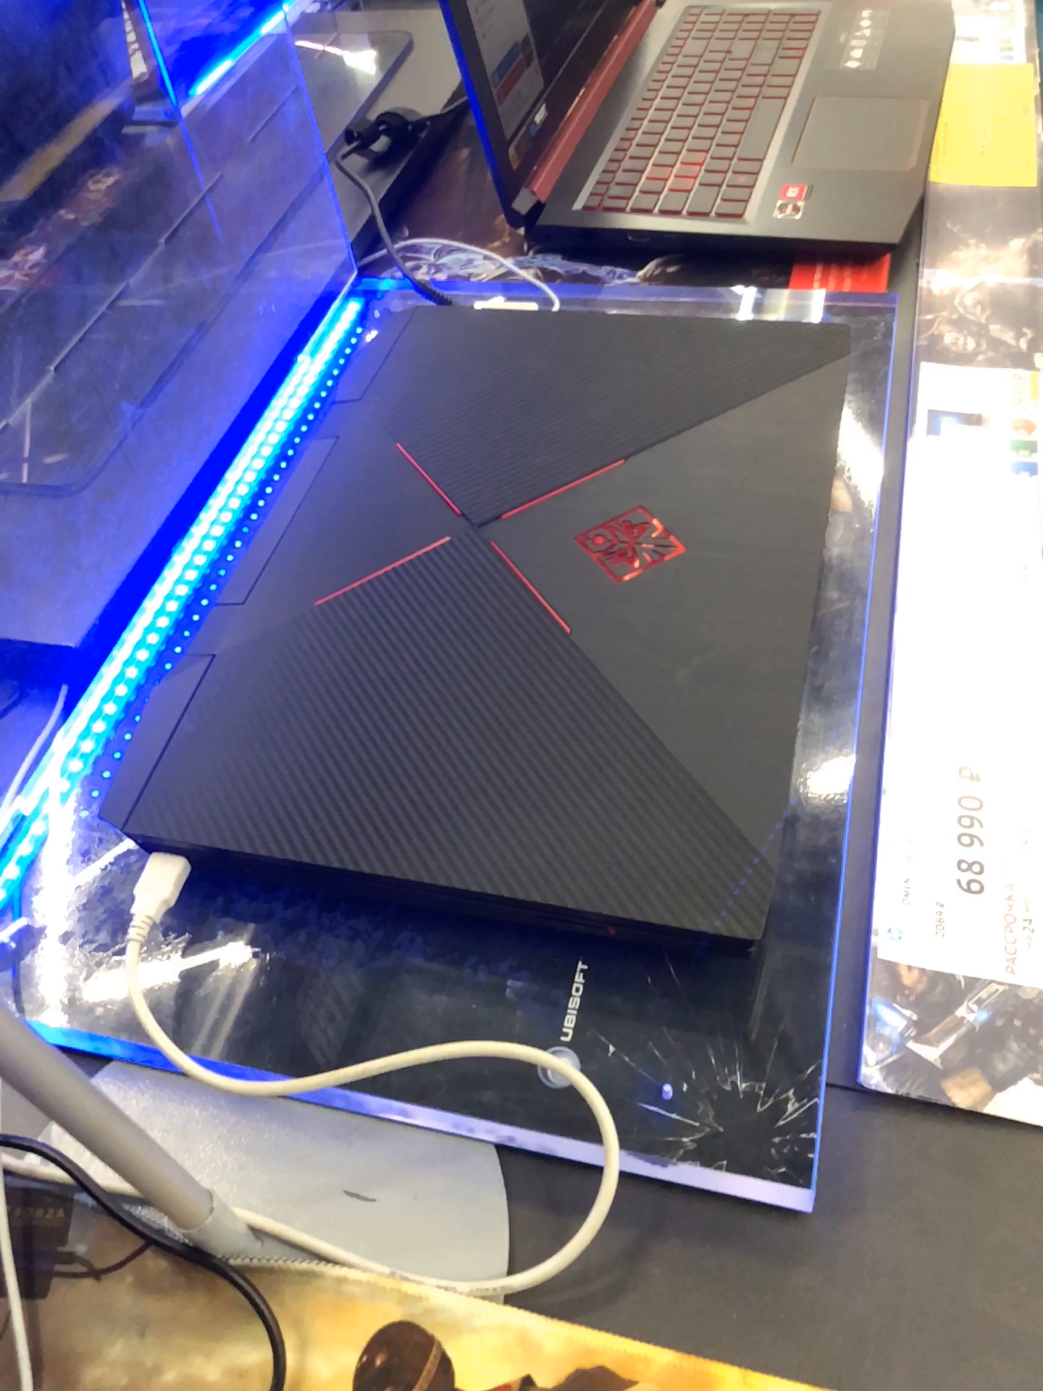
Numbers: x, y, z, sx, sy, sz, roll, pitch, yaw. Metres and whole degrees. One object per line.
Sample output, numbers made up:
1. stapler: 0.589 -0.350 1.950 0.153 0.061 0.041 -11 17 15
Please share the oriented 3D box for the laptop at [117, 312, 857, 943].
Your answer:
1. laptop: 0.009 -0.066 0.507 0.237 0.003 0.351 8 52 15
